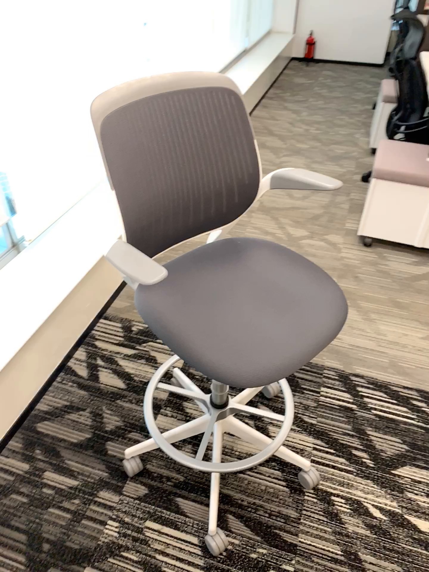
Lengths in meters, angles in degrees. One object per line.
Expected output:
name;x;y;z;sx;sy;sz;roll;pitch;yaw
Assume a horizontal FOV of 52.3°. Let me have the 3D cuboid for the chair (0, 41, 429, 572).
chair;0.010;0.093;1.170;0.692;1.140;0.694;-27;47;-29
